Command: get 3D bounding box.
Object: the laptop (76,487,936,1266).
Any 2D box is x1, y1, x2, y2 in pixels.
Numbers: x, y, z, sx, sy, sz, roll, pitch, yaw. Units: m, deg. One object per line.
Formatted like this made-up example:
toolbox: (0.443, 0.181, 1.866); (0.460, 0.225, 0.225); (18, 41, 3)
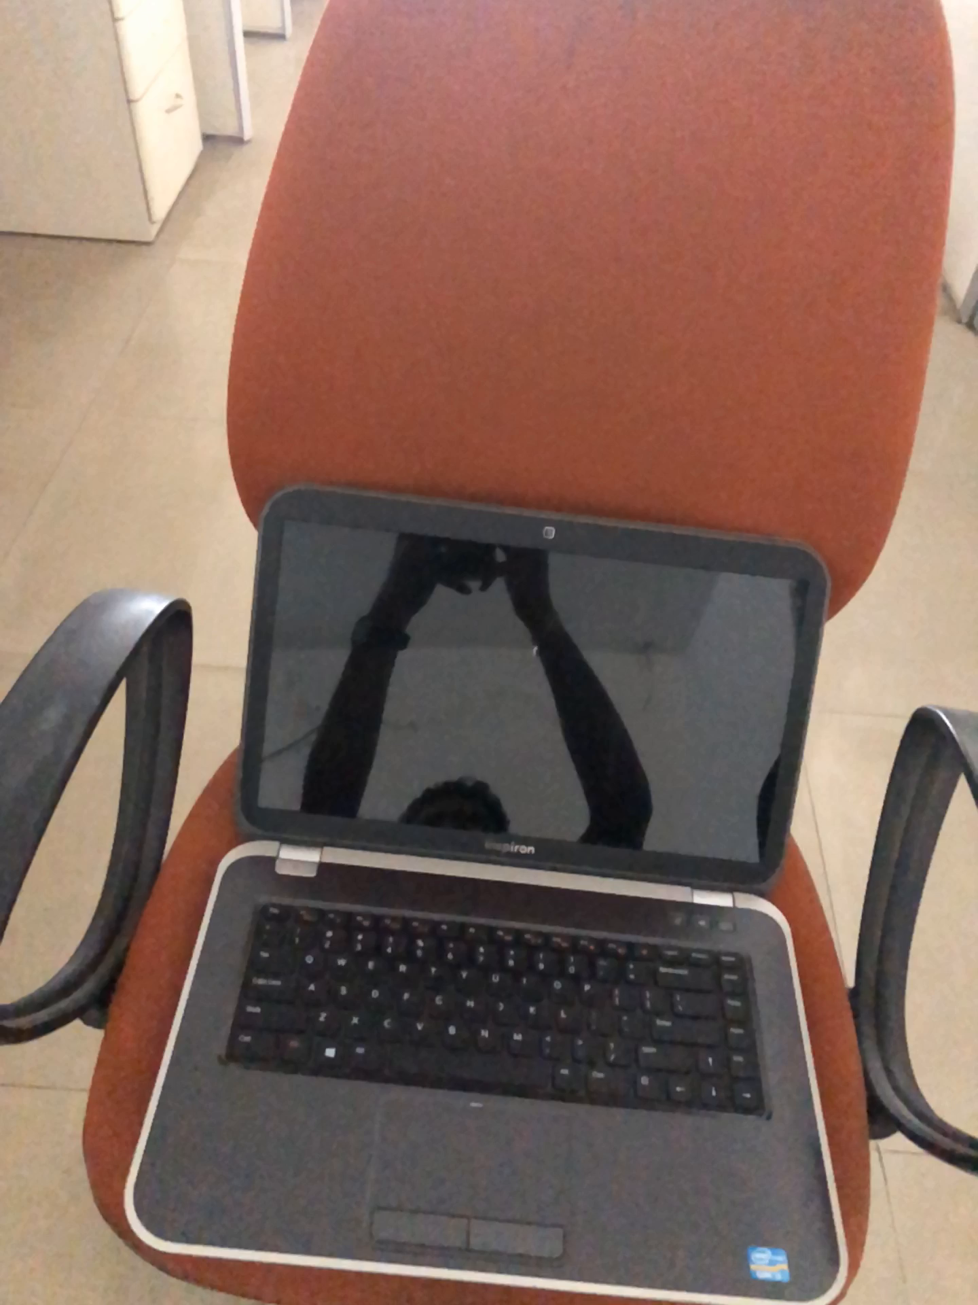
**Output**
laptop: (0.013, 0.104, 0.621); (0.352, 0.173, 0.353); (7, 46, 2)
